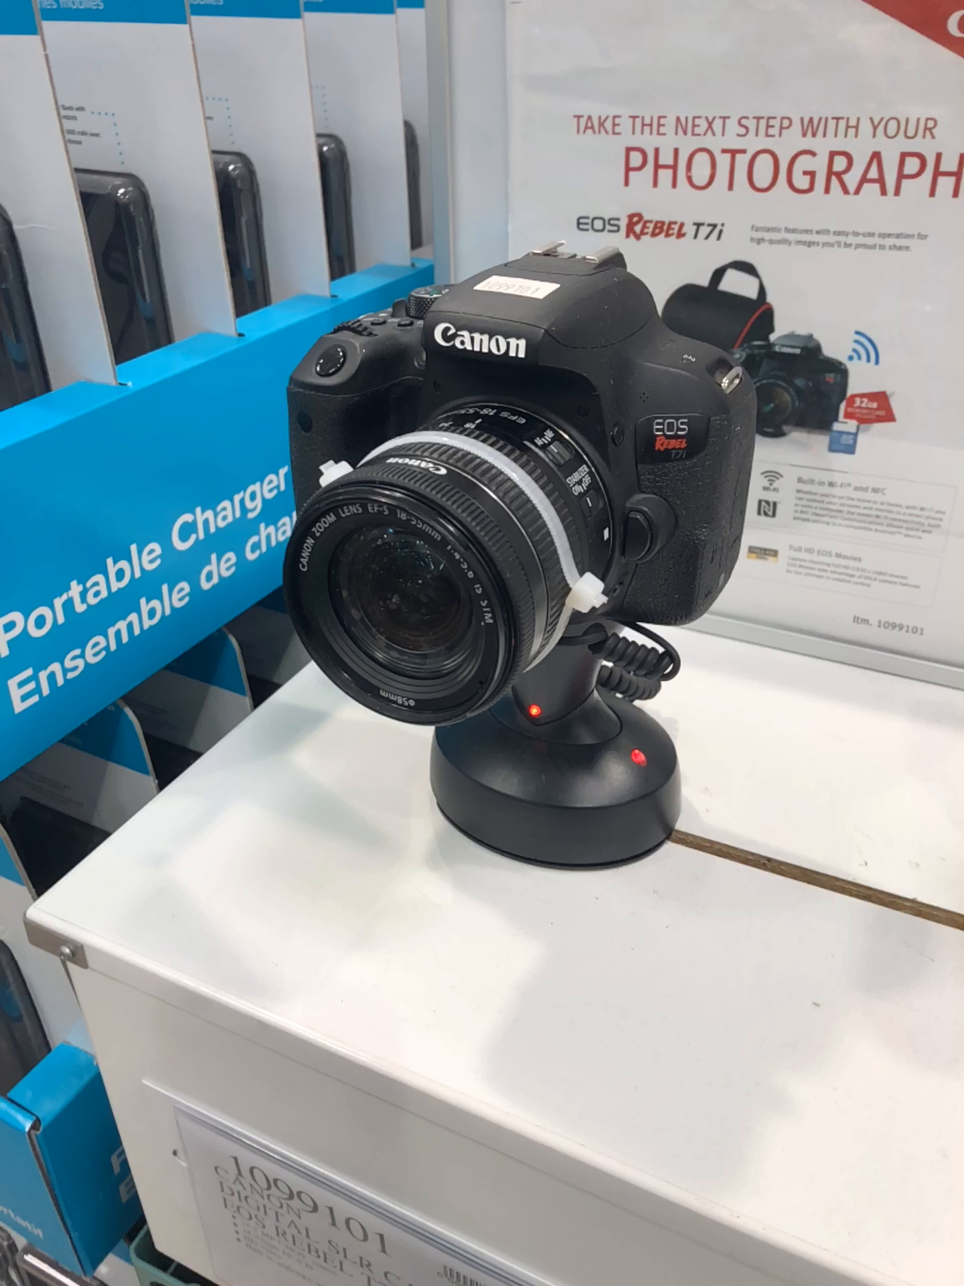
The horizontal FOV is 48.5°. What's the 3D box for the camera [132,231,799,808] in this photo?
[{"bbox_3d":[0.007,-0.052,0.319,0.130,0.100,0.150,13,34,22],"label":"camera"}]
